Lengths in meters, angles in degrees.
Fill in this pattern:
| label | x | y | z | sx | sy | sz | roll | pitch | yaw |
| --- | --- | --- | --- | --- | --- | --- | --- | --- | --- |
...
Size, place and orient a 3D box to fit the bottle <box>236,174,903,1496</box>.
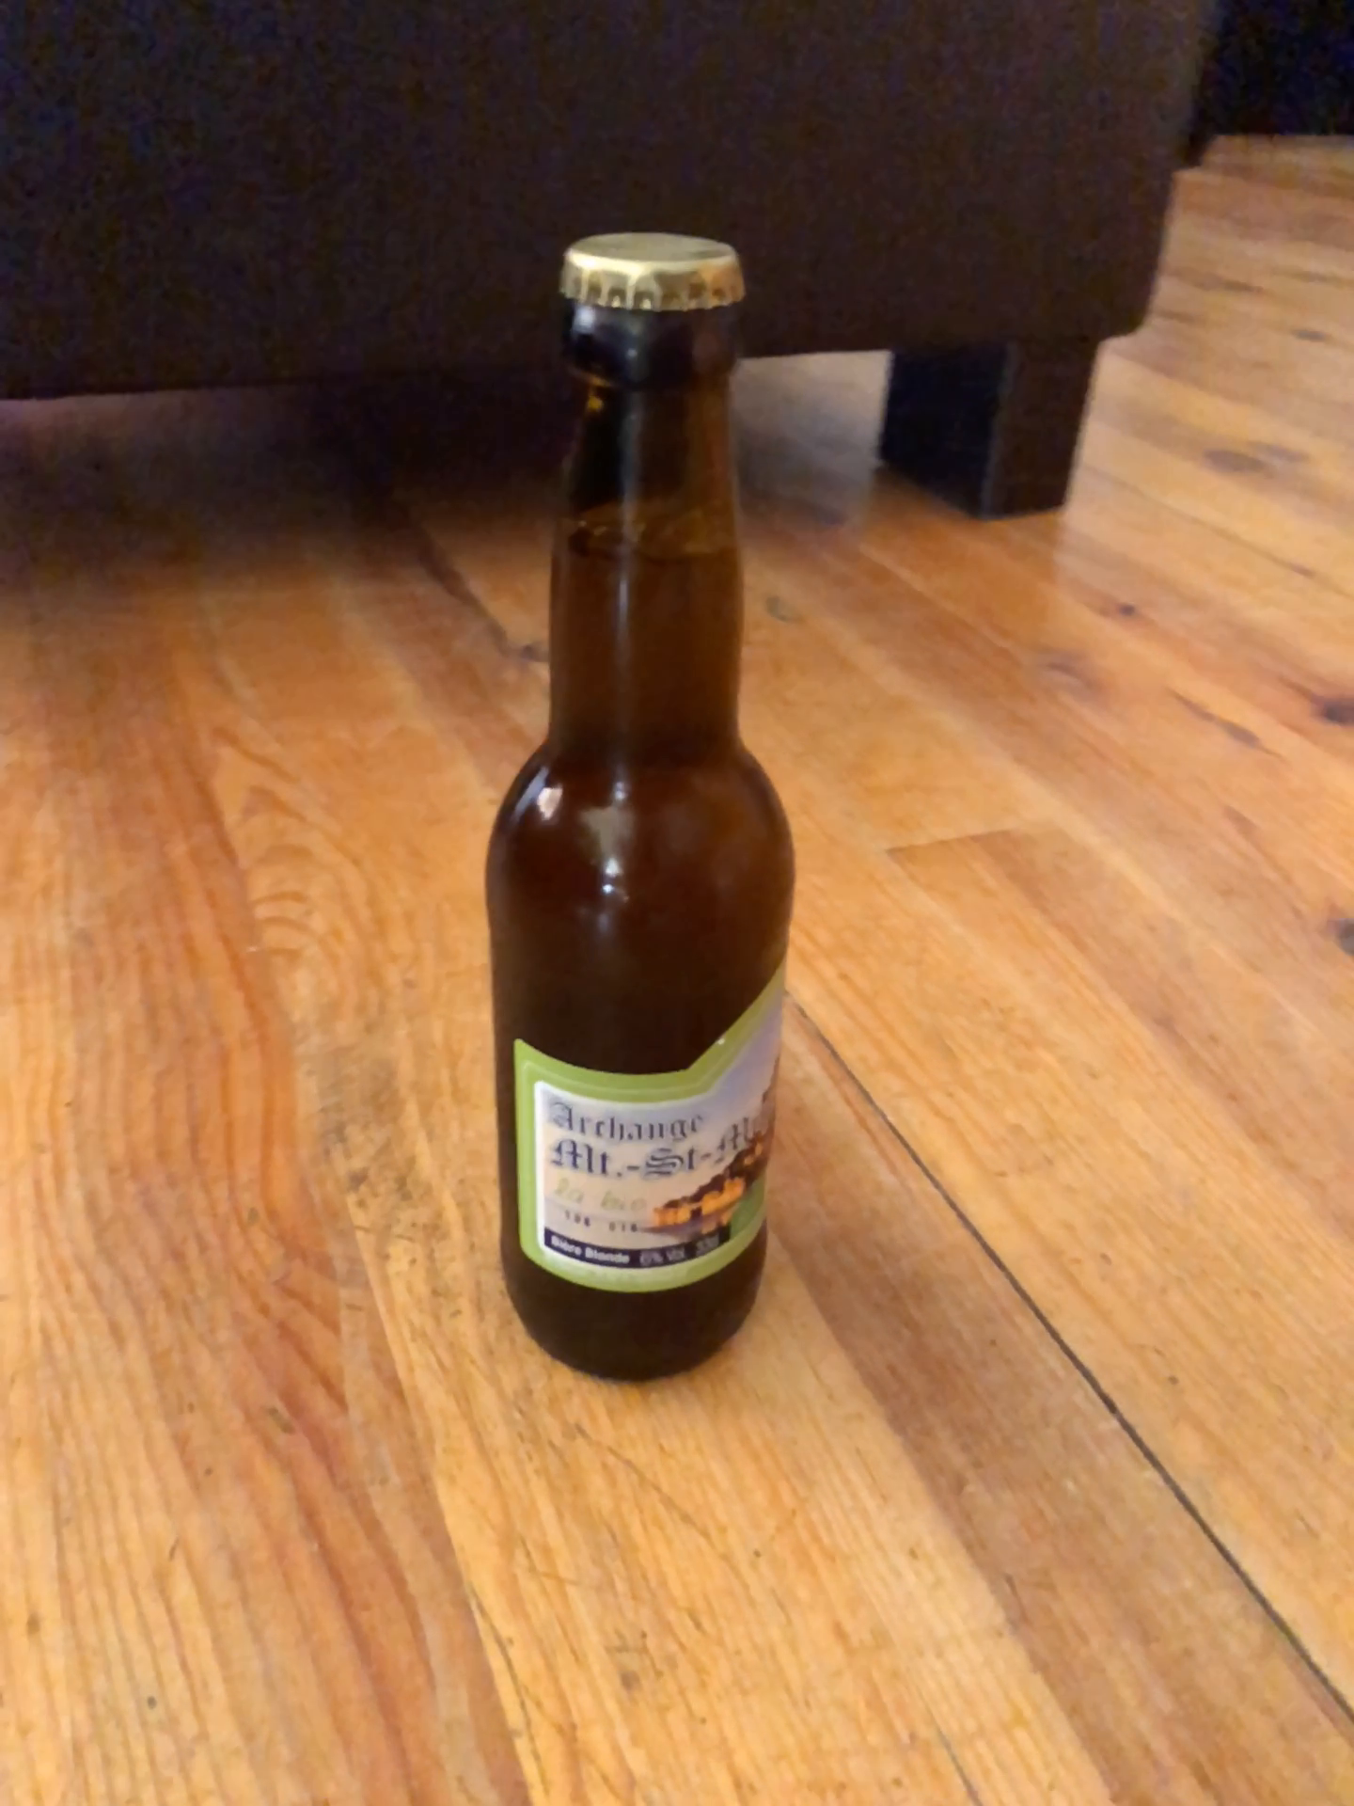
| label | x | y | z | sx | sy | sz | roll | pitch | yaw |
| --- | --- | --- | --- | --- | --- | --- | --- | --- | --- |
| bottle | -0.019 | -0.004 | 0.281 | 0.070 | 0.229 | 0.070 | 2 | 32 | -1 |
